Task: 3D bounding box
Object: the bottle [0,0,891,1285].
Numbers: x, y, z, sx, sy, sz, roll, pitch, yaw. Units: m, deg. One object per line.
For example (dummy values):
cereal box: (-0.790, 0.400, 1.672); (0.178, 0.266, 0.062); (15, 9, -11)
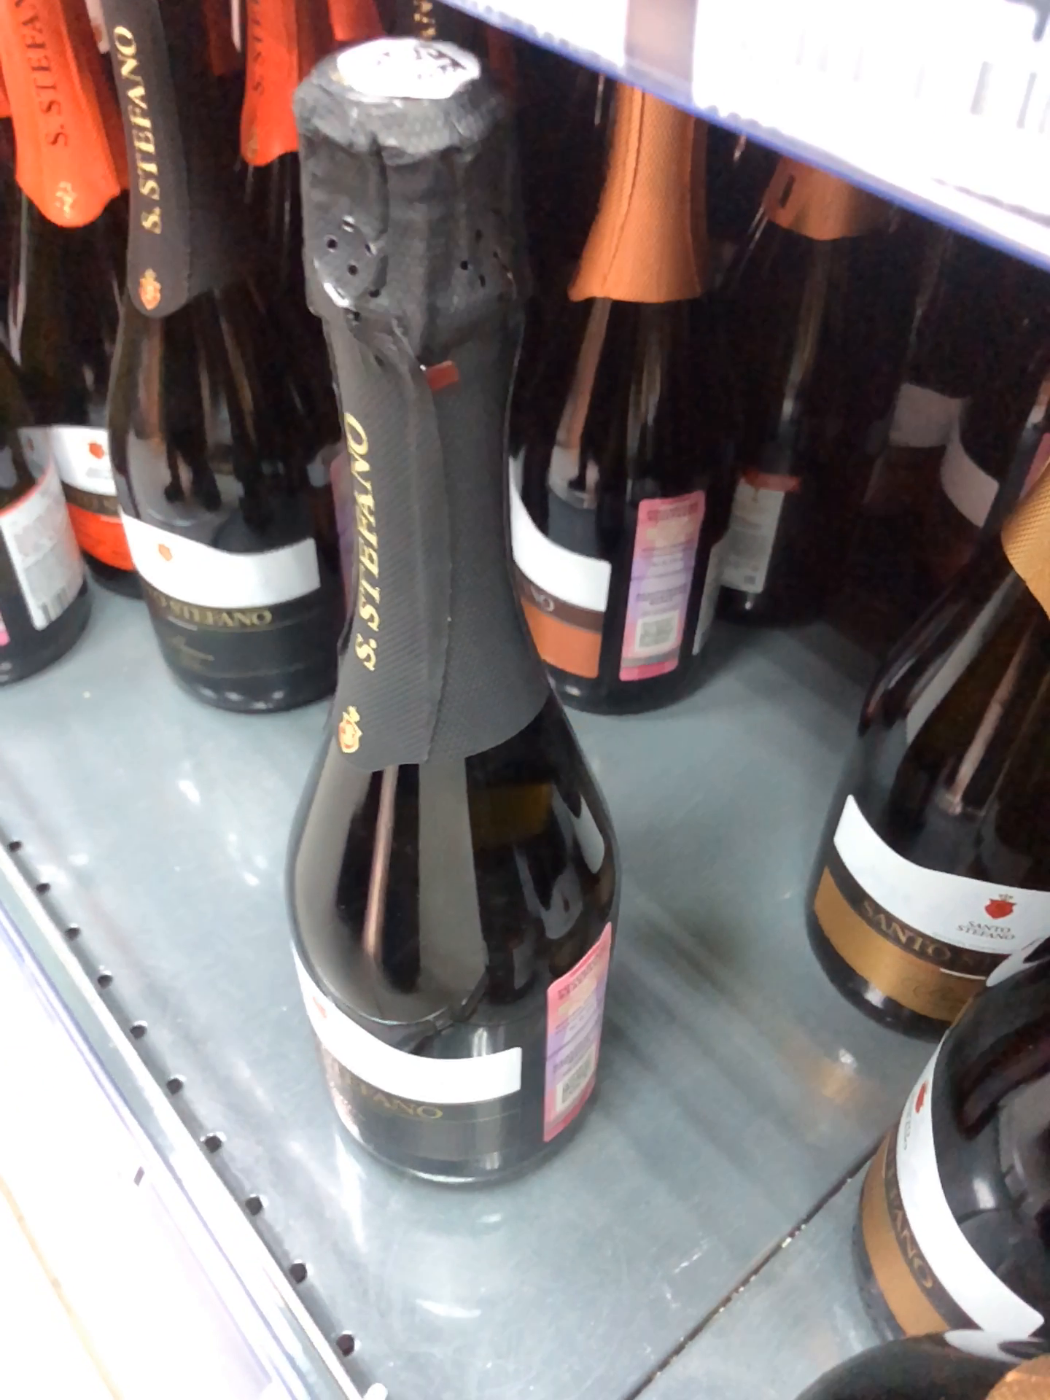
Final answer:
bottle: (-0.020, 0.012, 0.269); (0.090, 0.288, 0.100); (-31, 54, -29)
